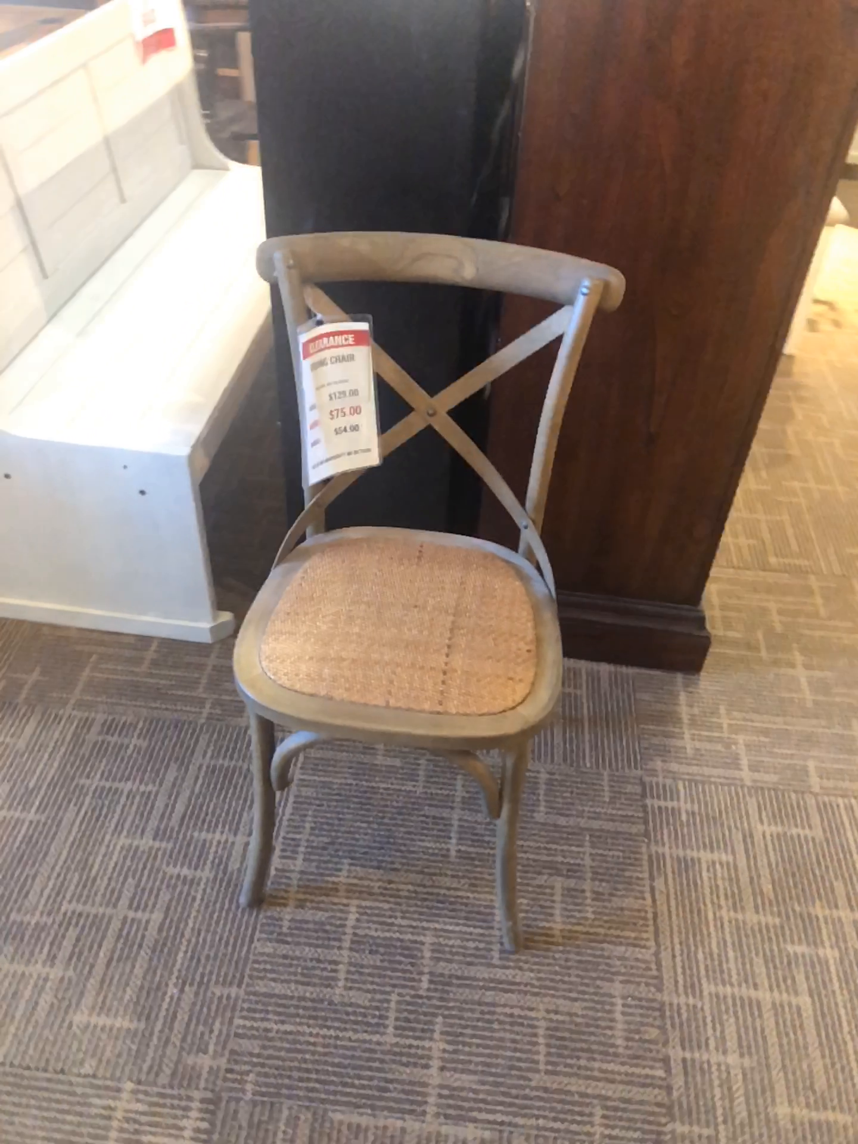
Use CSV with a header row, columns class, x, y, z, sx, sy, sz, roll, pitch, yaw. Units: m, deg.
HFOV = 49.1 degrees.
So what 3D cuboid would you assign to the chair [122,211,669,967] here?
class,x,y,z,sx,sy,sz,roll,pitch,yaw
chair,-0.016,0.050,1.311,0.490,0.861,0.532,8,41,5
